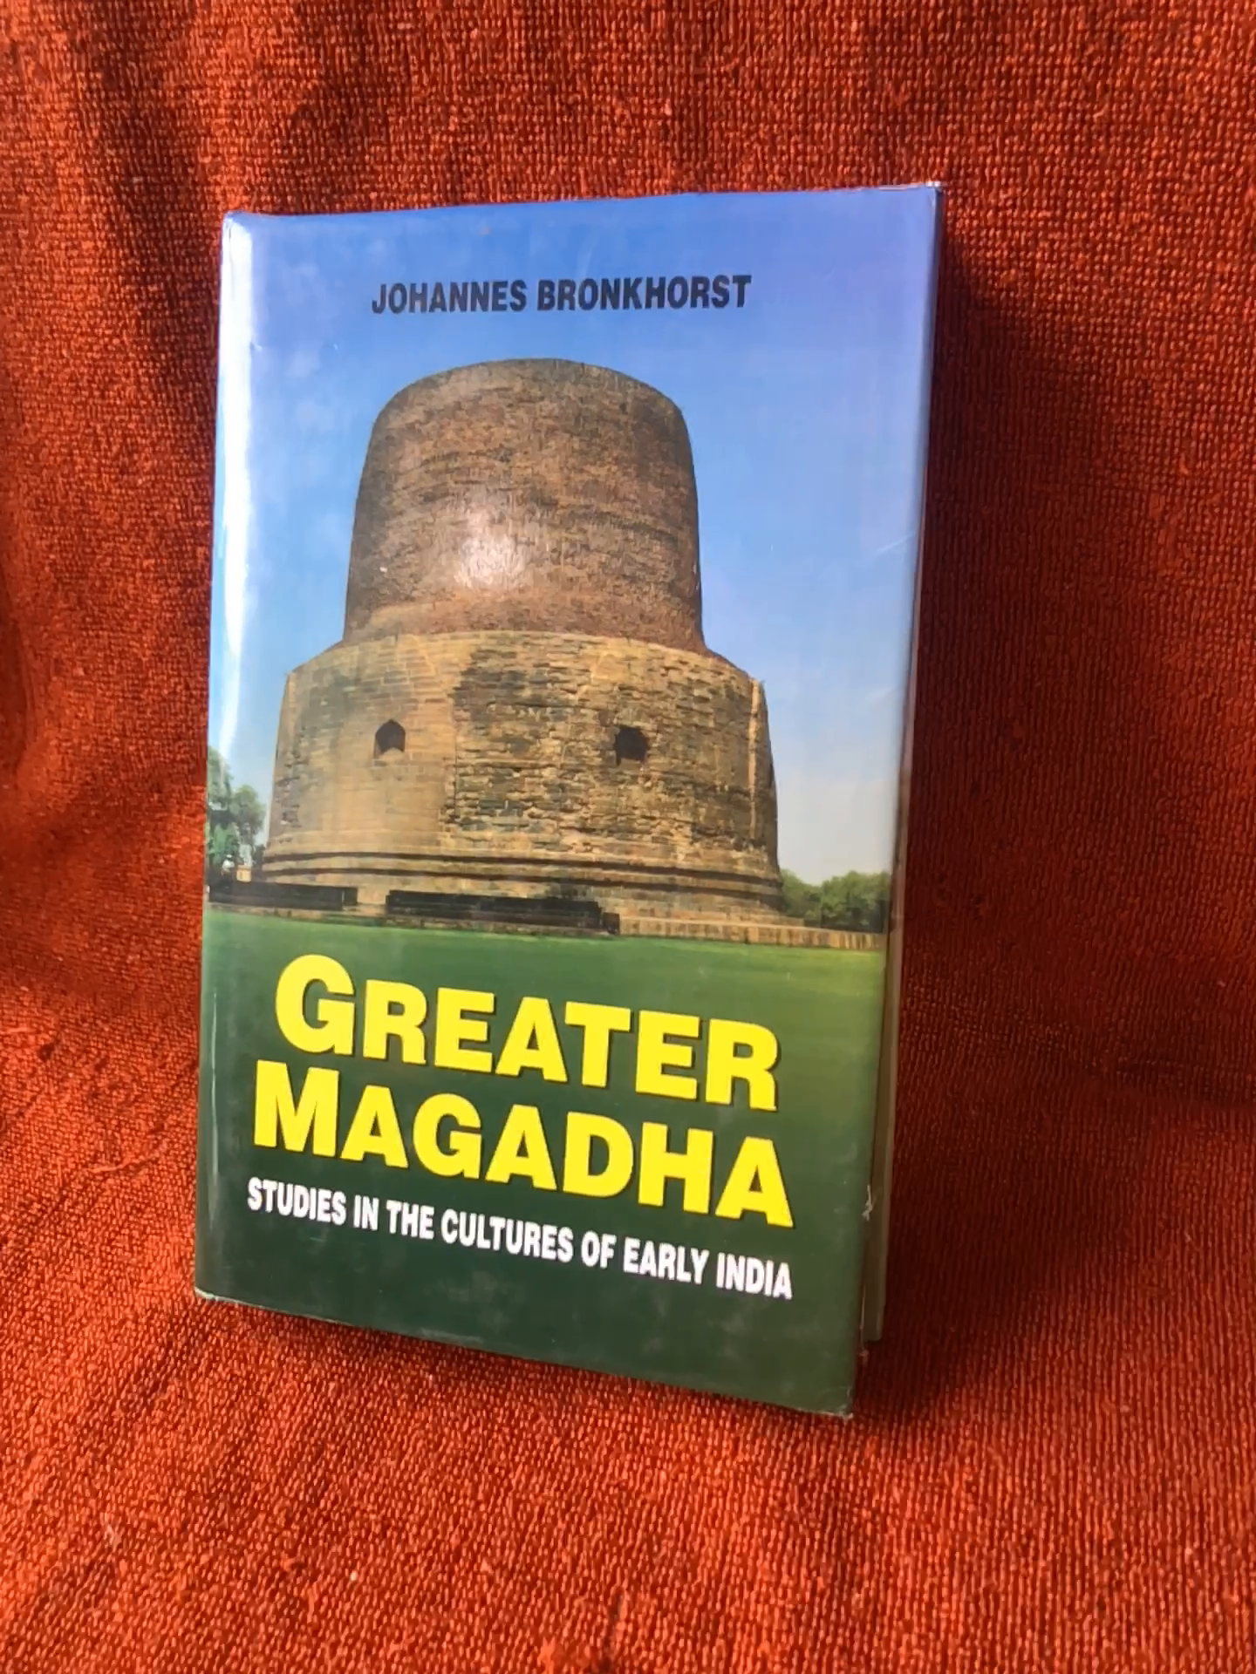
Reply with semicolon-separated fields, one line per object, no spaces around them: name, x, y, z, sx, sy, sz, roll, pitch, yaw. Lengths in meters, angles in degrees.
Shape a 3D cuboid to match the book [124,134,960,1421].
book;-0.022;-0.013;0.271;0.150;0.220;0.030;5;6;15
